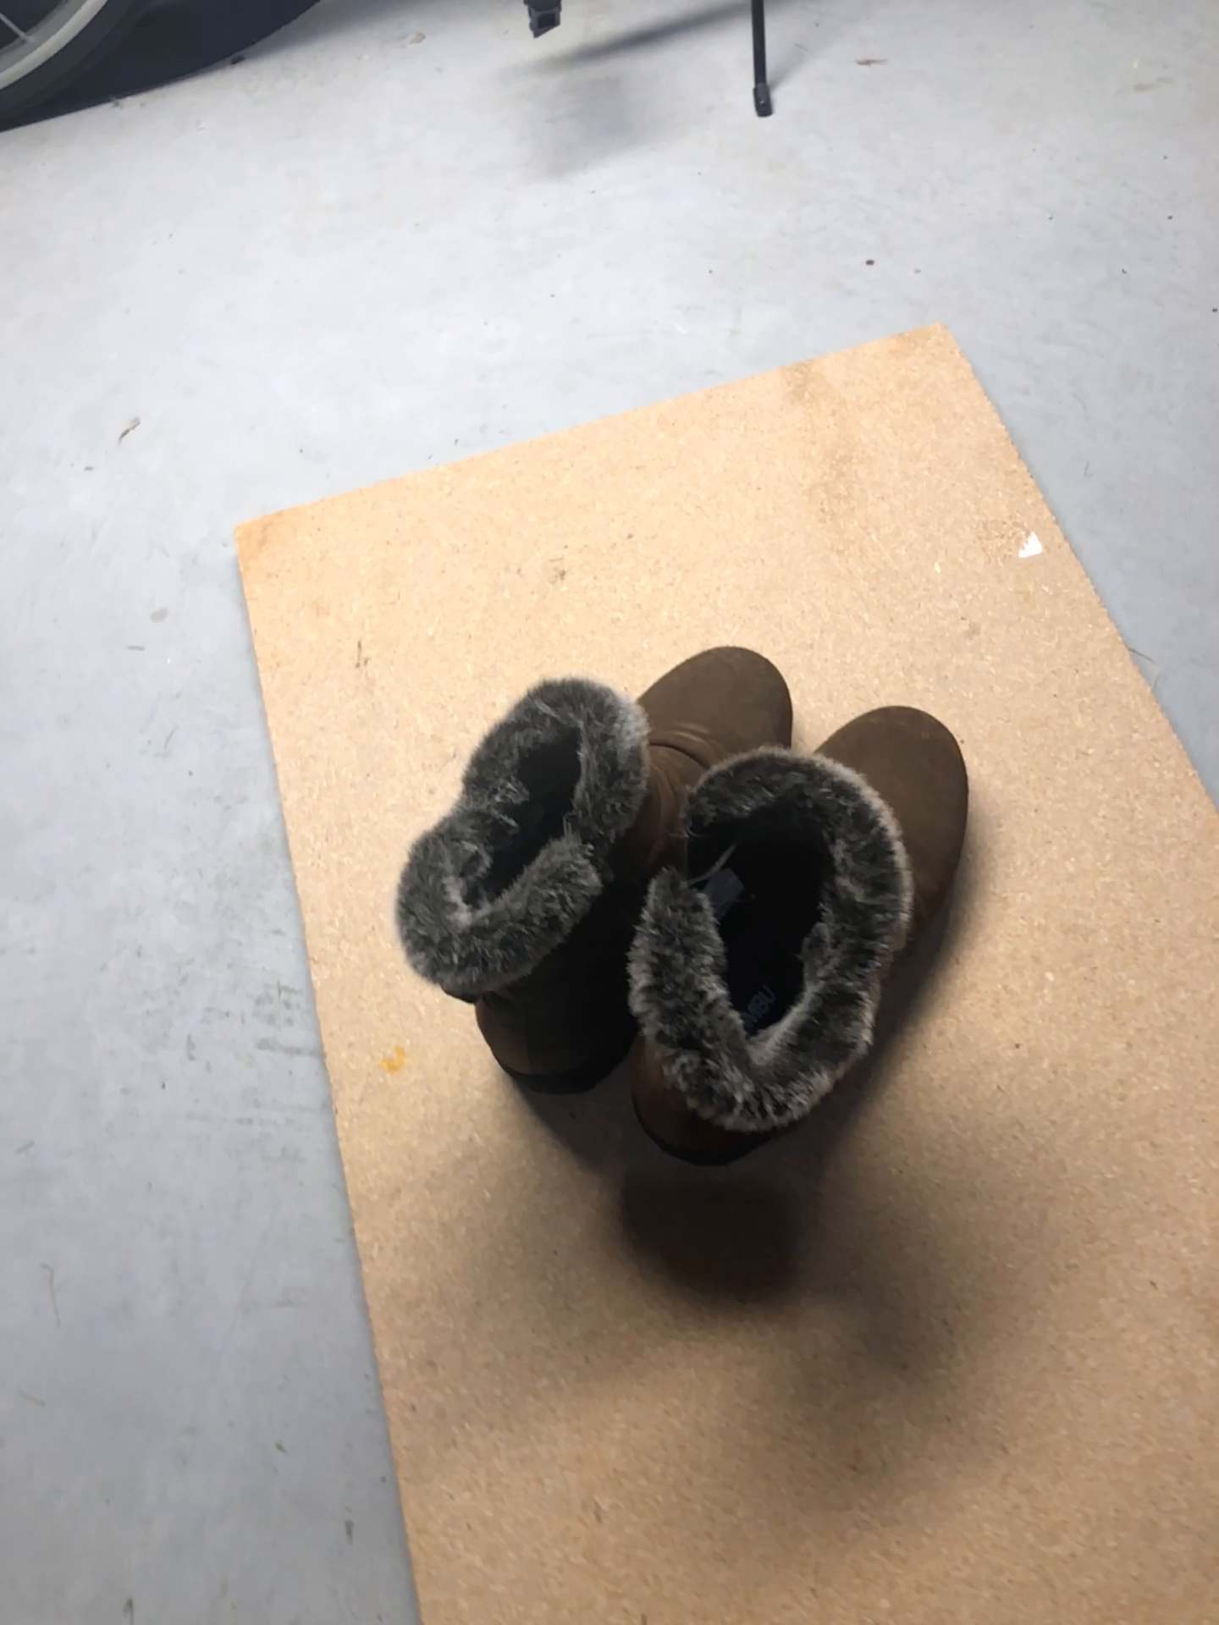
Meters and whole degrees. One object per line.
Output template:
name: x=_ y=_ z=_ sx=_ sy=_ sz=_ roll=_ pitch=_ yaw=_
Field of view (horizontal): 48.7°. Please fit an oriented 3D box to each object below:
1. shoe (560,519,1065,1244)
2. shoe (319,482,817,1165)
shoe: x=0.098 y=0.041 z=0.627 sx=0.100 sy=0.220 sz=0.250 roll=24 pitch=67 yaw=18
shoe: x=-0.001 y=0.011 z=0.668 sx=0.100 sy=0.200 sz=0.260 roll=24 pitch=67 yaw=18
